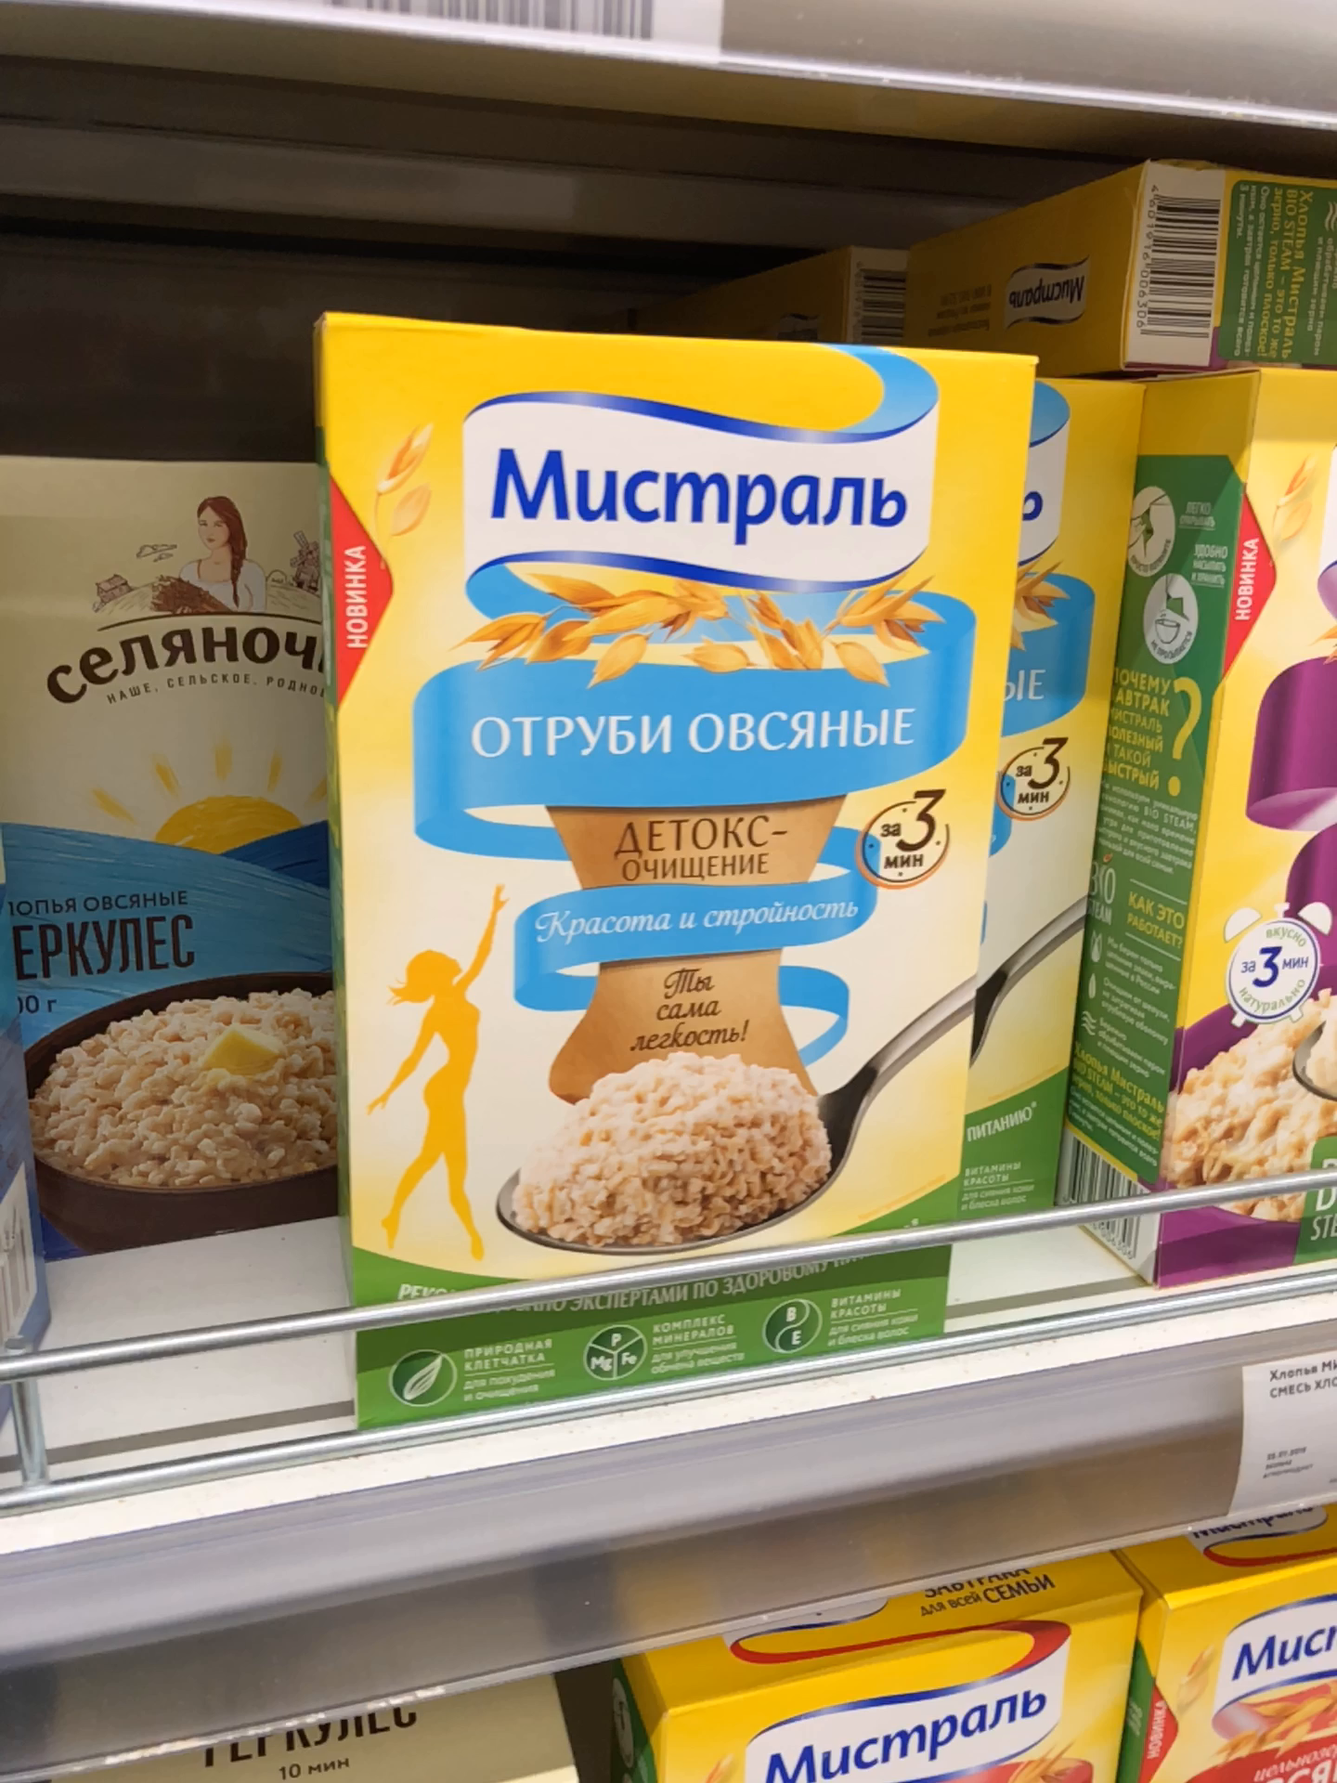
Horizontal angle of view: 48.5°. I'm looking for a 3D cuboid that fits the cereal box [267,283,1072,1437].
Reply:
[{"bbox_3d":[-0.003,-0.006,0.302,0.140,0.209,0.050,-4,16,-15],"label":"cereal box"}]
